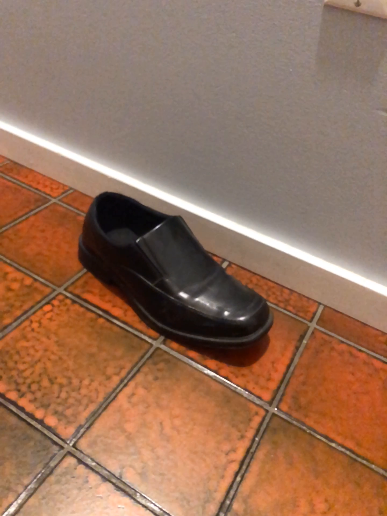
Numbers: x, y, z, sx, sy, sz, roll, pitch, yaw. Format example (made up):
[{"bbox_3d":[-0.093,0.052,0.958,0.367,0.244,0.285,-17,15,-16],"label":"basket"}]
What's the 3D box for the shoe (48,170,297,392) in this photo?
[{"bbox_3d":[-0.040,0.010,0.550,0.300,0.100,0.120,34,45,26],"label":"shoe"}]
